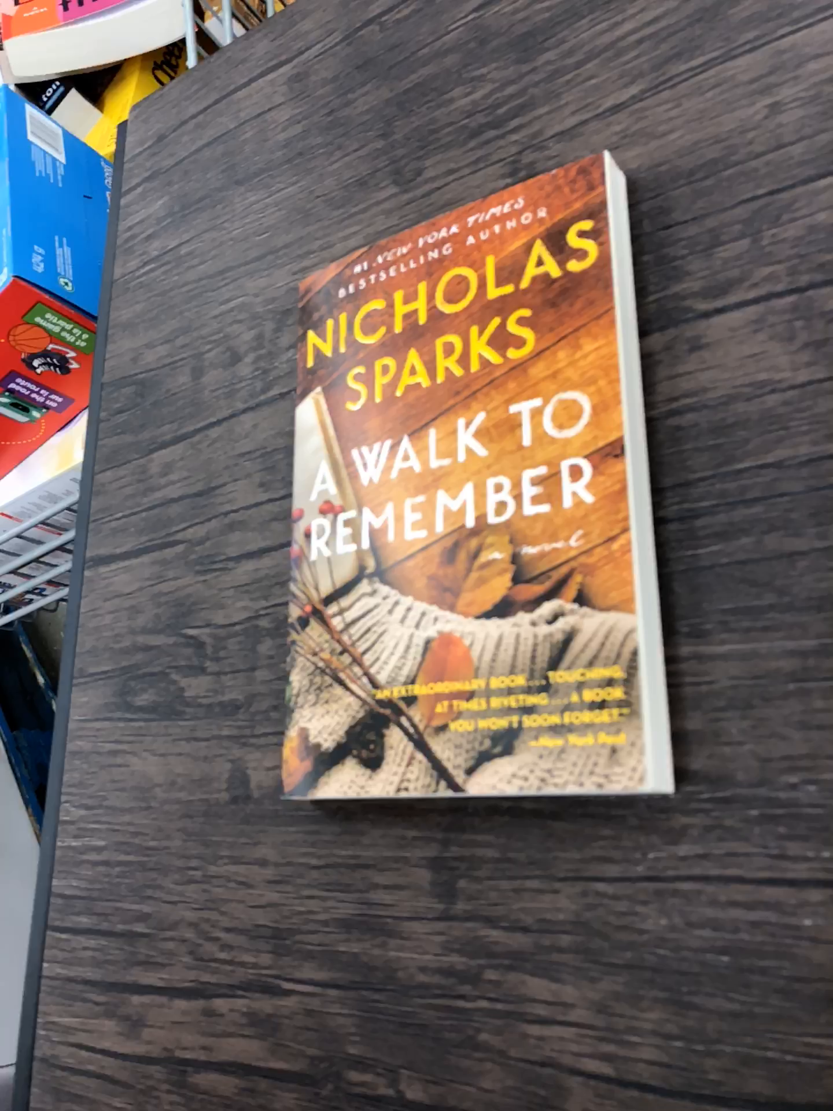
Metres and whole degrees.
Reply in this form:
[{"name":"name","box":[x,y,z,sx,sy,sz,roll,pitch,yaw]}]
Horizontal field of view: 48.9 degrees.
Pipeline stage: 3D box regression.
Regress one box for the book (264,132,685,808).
[{"name":"book","box":[0.010,-0.022,0.299,0.132,0.020,0.200,-11,70,32]}]
